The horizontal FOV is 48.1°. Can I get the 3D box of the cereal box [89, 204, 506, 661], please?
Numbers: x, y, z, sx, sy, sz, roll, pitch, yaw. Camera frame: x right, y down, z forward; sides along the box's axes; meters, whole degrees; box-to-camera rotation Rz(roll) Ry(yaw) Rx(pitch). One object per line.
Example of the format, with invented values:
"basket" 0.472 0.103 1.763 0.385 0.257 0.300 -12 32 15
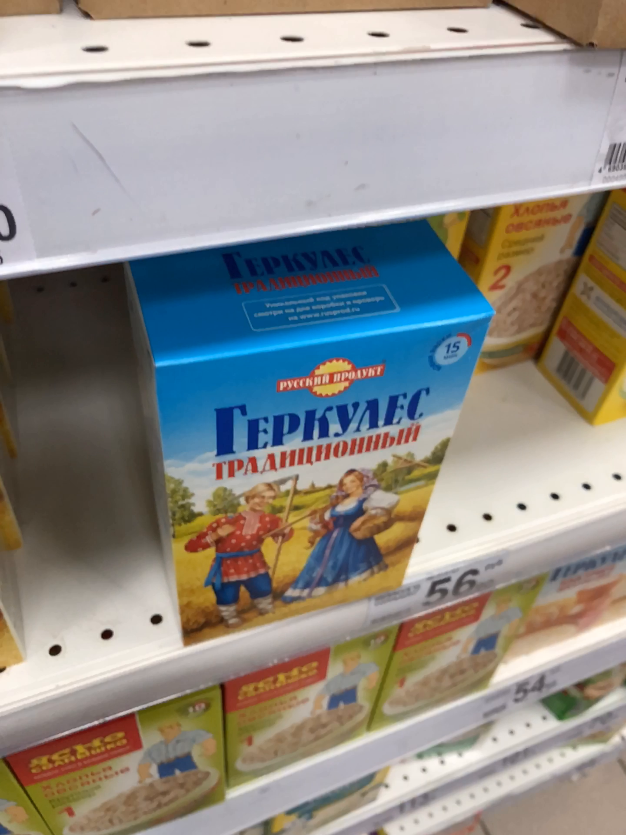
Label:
"cereal box" -0.014 0.015 0.312 0.130 0.189 0.070 -11 48 -17
